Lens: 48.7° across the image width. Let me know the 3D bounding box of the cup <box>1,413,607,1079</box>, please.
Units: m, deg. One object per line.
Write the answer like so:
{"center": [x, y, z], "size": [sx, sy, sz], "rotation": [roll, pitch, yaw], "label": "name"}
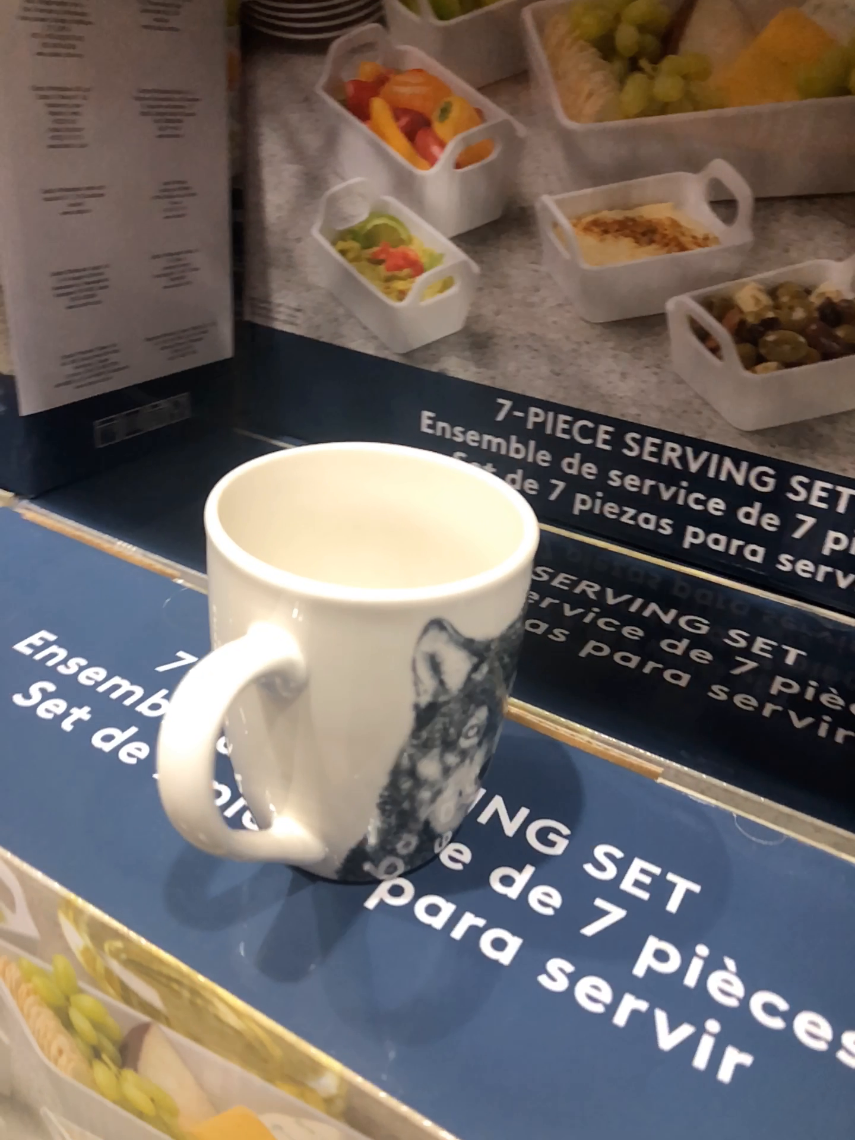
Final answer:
{"center": [-0.024, 0.032, 0.259], "size": [0.093, 0.102, 0.129], "rotation": [18, 30, 23], "label": "cup"}
